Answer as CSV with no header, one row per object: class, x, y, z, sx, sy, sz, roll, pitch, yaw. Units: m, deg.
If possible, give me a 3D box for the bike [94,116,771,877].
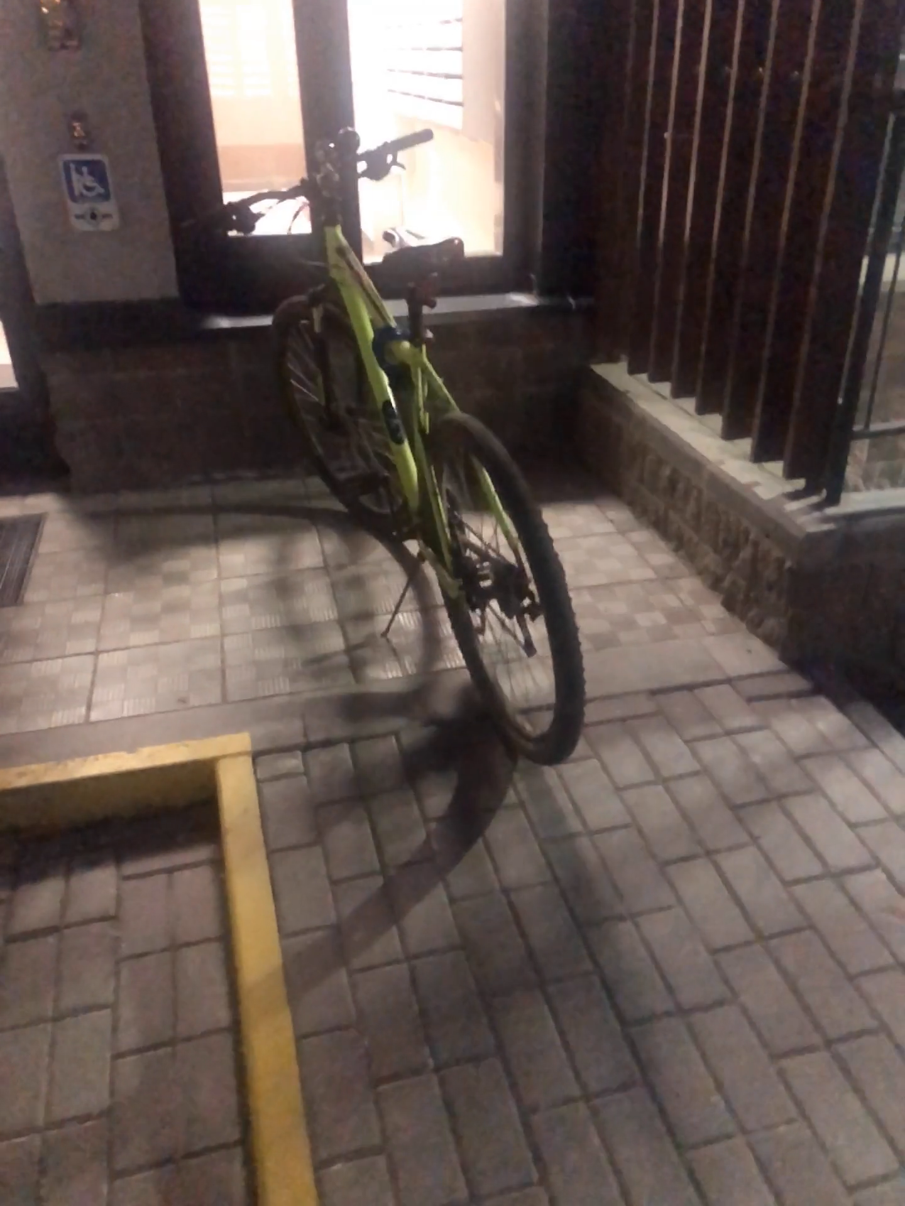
bike,-0.234,-0.458,2.297,0.720,1.095,1.767,-13,31,-21
